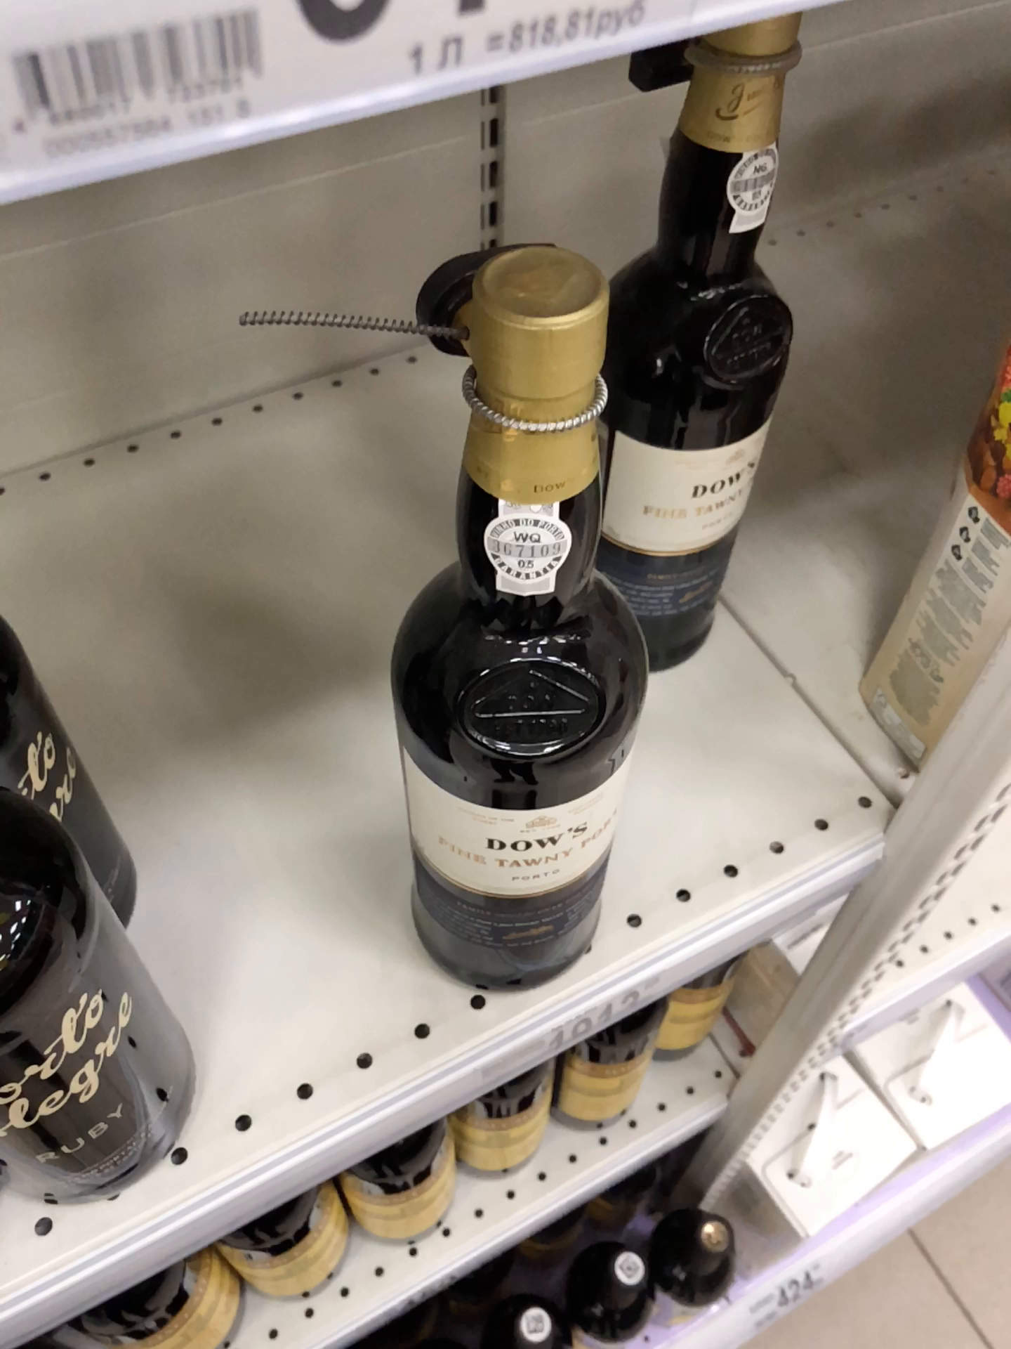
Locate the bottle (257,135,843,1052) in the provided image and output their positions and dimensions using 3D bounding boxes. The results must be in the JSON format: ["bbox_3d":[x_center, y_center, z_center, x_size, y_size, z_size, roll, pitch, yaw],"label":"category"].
[{"bbox_3d":[0.003,0.008,0.348,0.090,0.296,0.090,1,53,-1],"label":"bottle"}]
